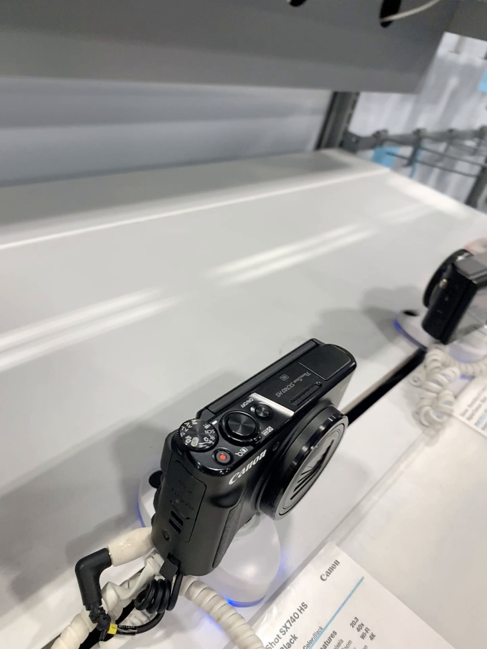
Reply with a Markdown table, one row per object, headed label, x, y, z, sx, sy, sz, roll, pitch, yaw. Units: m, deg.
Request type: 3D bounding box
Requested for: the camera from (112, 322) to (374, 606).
| label | x | y | z | sx | sy | sz | roll | pitch | yaw |
| --- | --- | --- | --- | --- | --- | --- | --- | --- | --- |
| camera | 0.005 | 0.053 | 0.231 | 0.041 | 0.063 | 0.120 | 33 | 36 | 25 |
